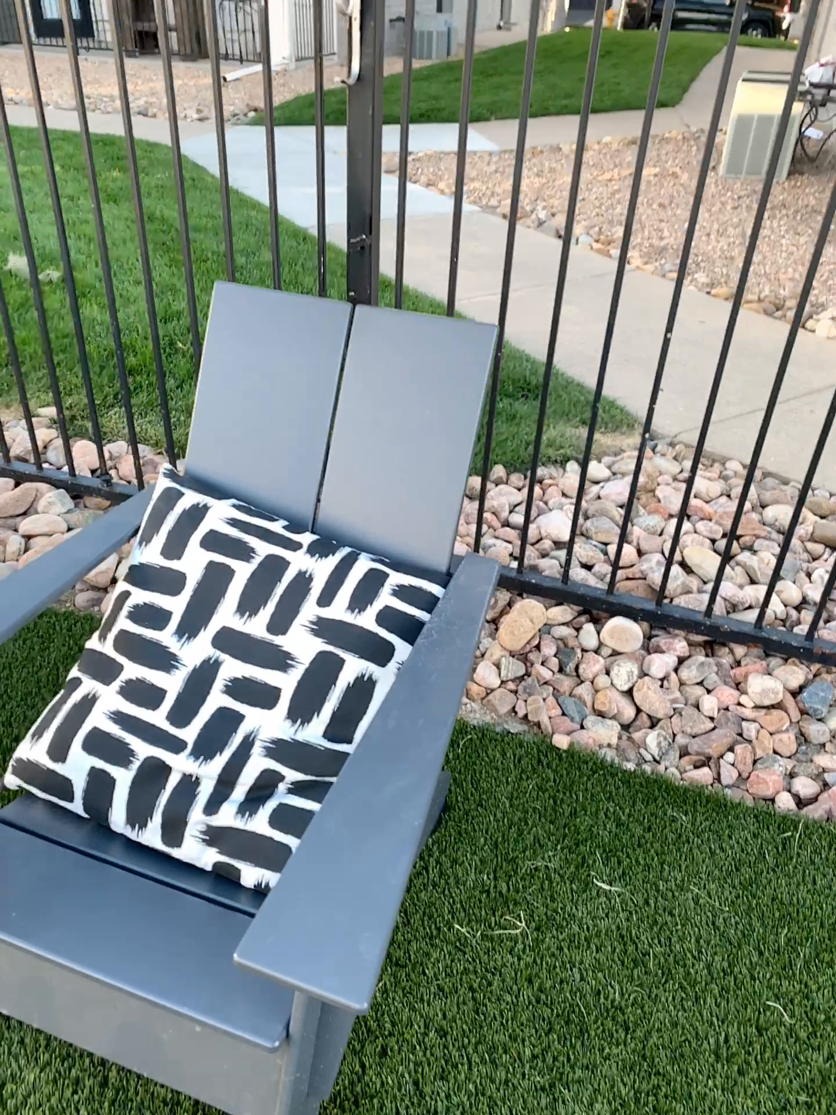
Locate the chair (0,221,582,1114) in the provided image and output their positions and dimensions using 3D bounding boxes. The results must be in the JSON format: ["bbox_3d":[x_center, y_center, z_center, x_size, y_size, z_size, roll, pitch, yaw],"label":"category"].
[{"bbox_3d":[-0.254,0.134,1.072,0.621,0.806,0.884,14,36,16],"label":"chair"}]
